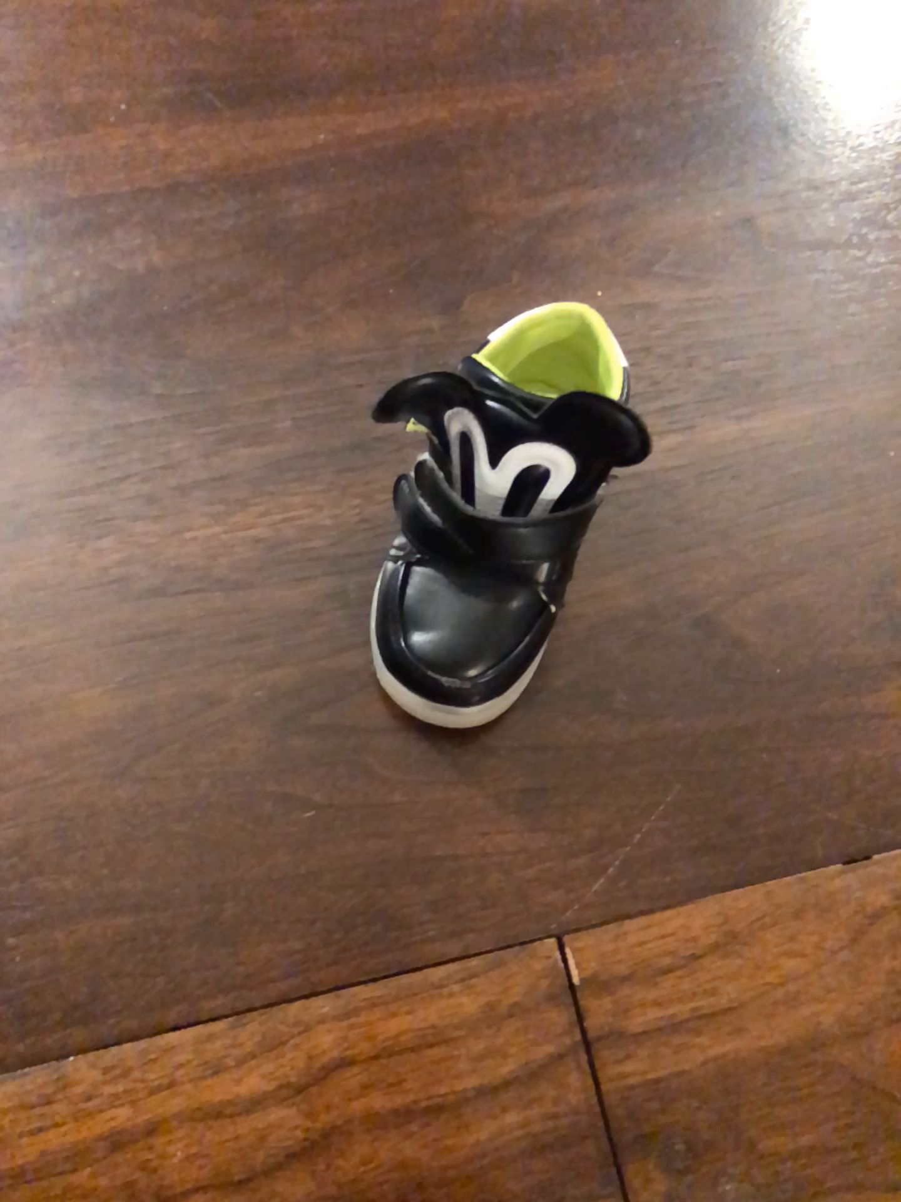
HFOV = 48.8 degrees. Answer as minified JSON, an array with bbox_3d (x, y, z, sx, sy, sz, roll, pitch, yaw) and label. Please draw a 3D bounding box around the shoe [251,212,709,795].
[{"bbox_3d":[0.011,-0.029,0.341,0.090,0.100,0.150,20,69,5],"label":"shoe"}]
